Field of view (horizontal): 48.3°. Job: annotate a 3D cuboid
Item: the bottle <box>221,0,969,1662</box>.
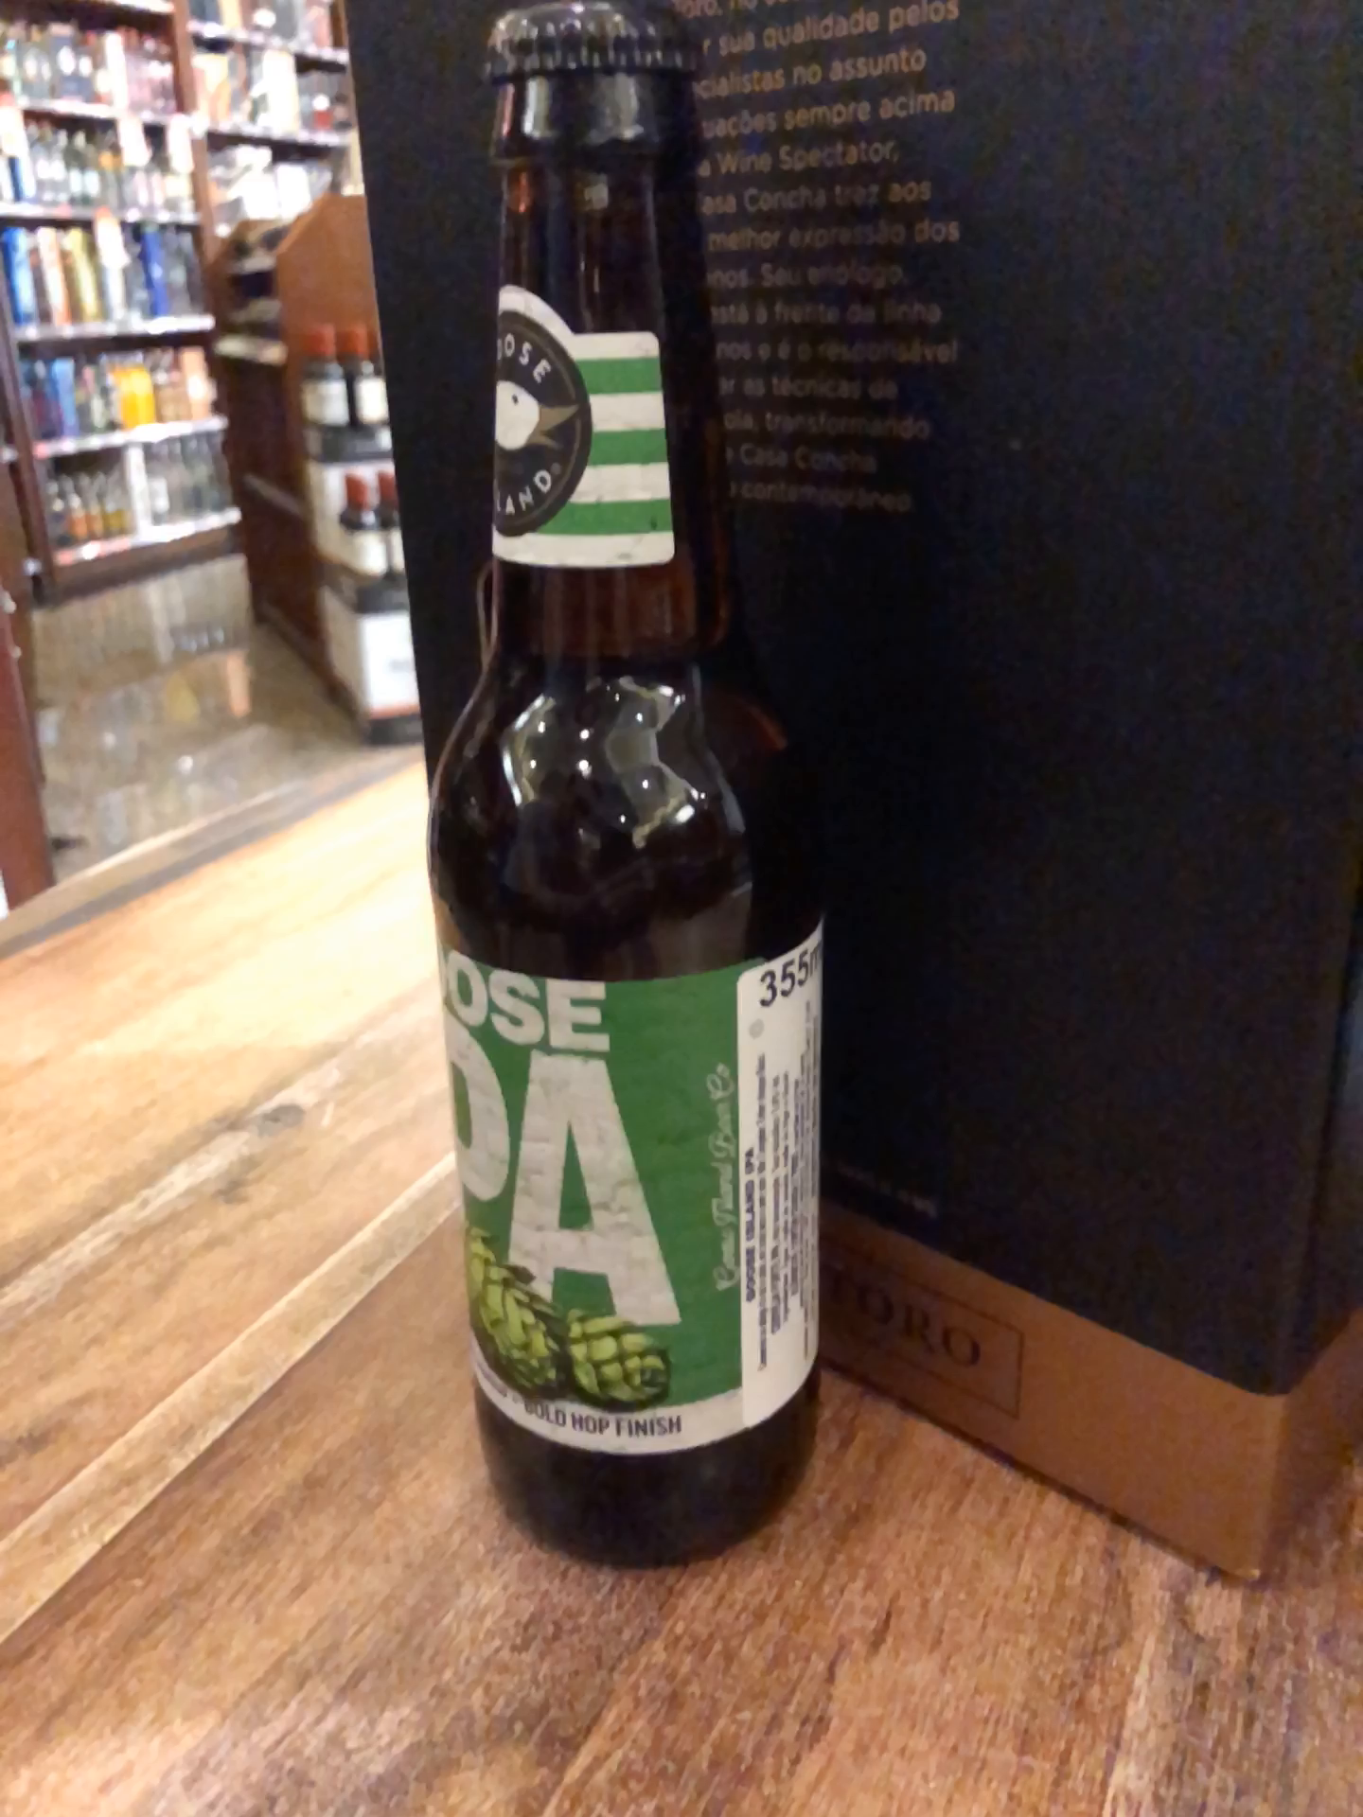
[{"bbox_3d":[-0.008,-0.012,0.227,0.060,0.228,0.070,-21,28,-39],"label":"bottle"}]
